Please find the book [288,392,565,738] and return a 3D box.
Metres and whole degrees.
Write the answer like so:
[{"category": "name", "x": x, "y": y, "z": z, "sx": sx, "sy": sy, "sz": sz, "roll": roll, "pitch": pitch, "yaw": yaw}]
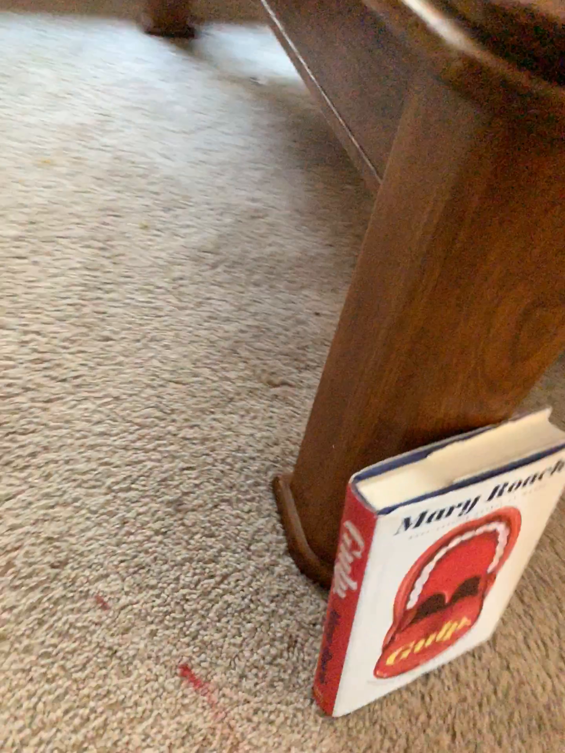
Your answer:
[{"category": "book", "x": 0.090, "y": 0.130, "z": 0.378, "sx": 0.160, "sy": 0.229, "sz": 0.040, "roll": -14, "pitch": 40, "yaw": -22}]
